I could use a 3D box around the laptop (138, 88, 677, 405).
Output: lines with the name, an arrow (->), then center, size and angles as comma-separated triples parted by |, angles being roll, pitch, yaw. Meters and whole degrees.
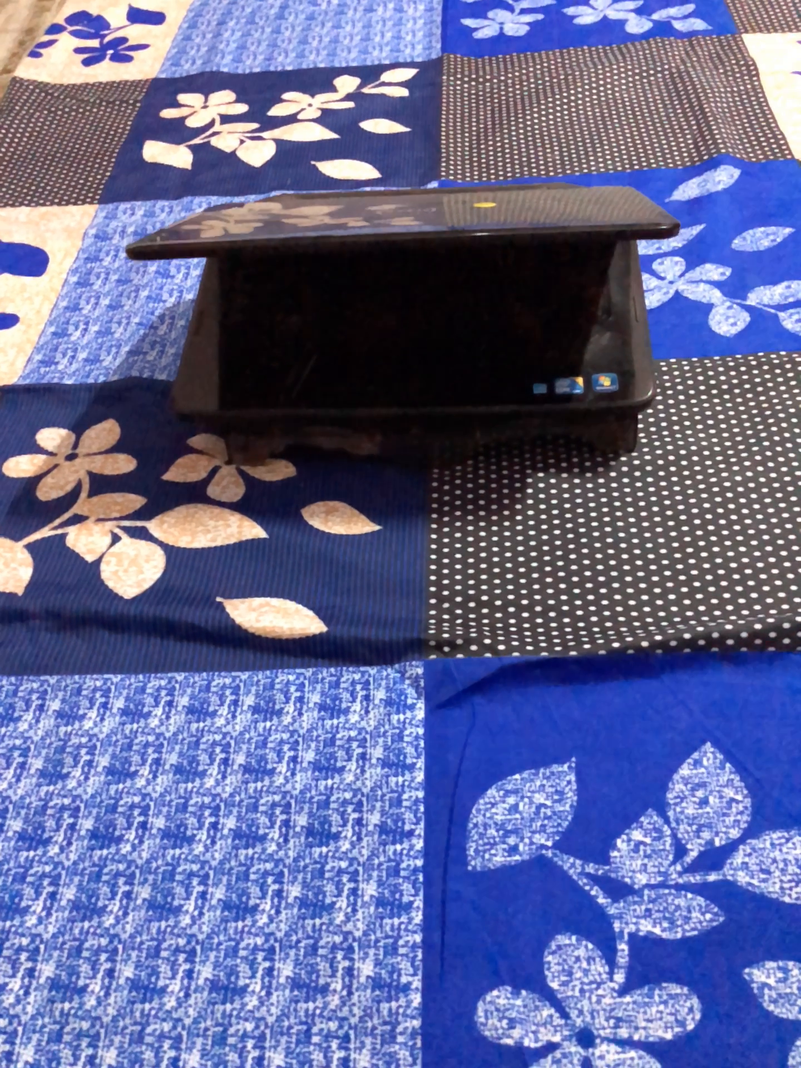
laptop -> 0.009, -0.227, 0.689 | 0.362, 0.092, 0.237 | 0, 56, 5
